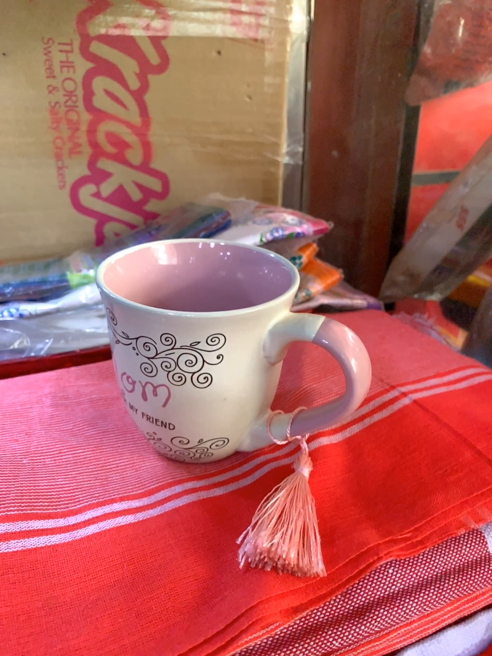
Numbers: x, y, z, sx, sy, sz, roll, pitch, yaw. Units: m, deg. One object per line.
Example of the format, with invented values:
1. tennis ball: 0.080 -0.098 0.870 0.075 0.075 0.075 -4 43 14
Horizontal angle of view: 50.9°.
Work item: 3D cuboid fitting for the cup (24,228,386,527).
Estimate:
1. cup: -0.014 0.010 0.233 0.125 0.075 0.086 12 29 24
